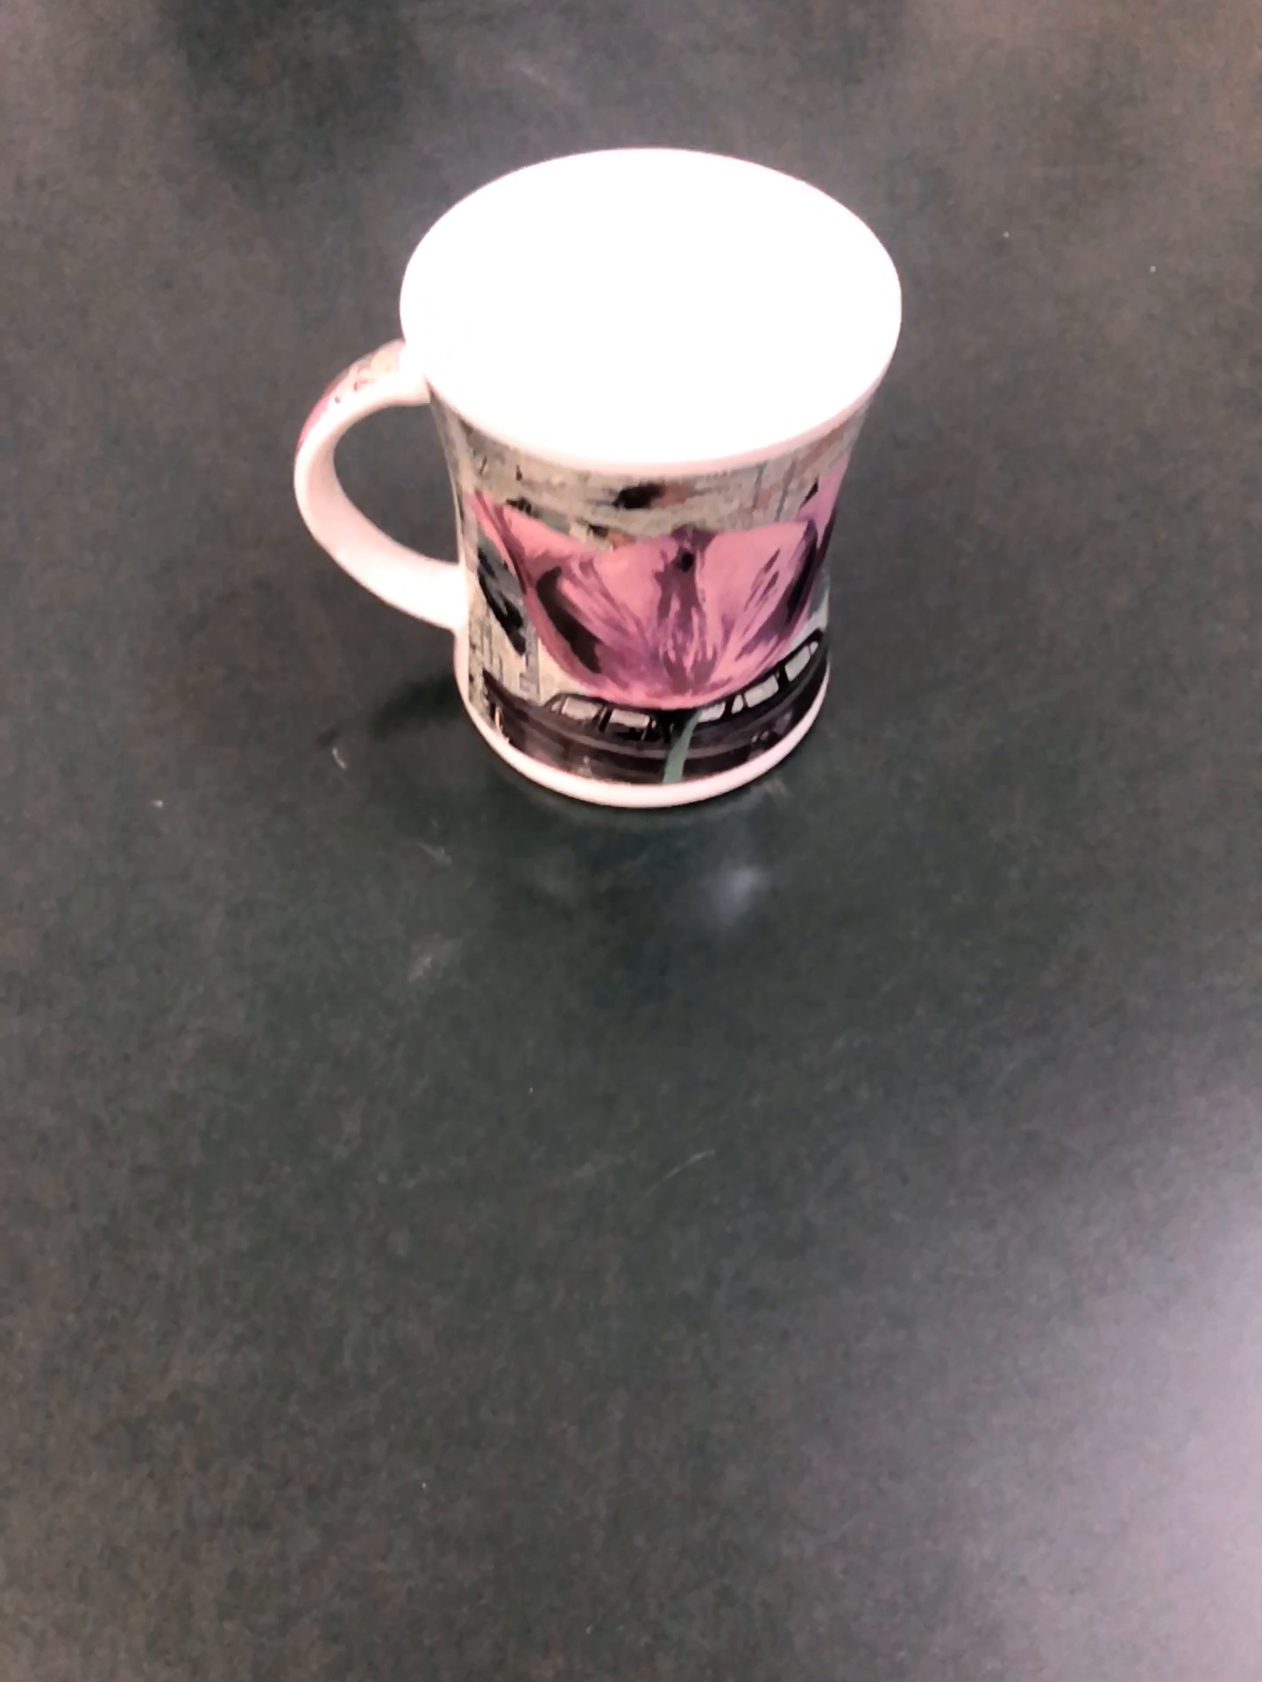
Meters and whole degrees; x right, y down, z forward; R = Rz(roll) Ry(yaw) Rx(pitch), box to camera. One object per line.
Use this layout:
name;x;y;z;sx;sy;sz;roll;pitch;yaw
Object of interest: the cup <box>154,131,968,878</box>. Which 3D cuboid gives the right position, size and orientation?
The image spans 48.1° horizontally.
cup;-0.012;-0.062;0.279;0.120;0.110;0.090;-1;56;-2
